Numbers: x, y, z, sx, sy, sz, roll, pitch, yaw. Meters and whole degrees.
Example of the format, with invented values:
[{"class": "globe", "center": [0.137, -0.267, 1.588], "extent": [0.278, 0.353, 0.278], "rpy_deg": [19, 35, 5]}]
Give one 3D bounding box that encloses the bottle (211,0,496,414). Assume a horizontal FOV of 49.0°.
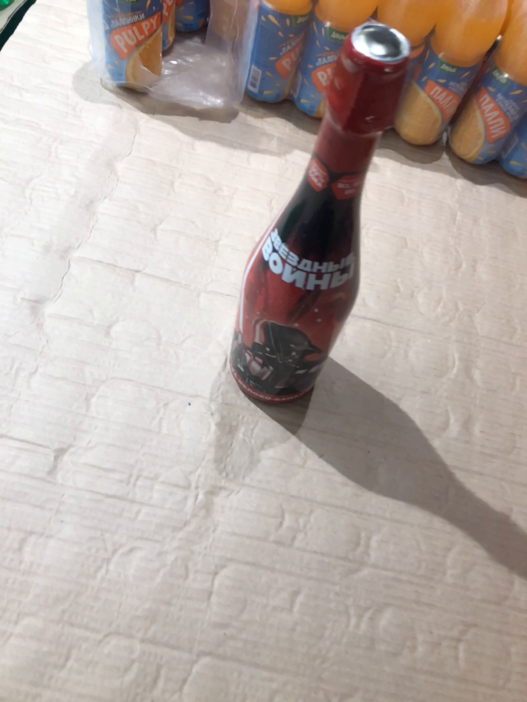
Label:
[{"class": "bottle", "center": [0.030, -0.059, 0.353], "extent": [0.086, 0.279, 0.085], "rpy_deg": [4, 63, -8]}]
